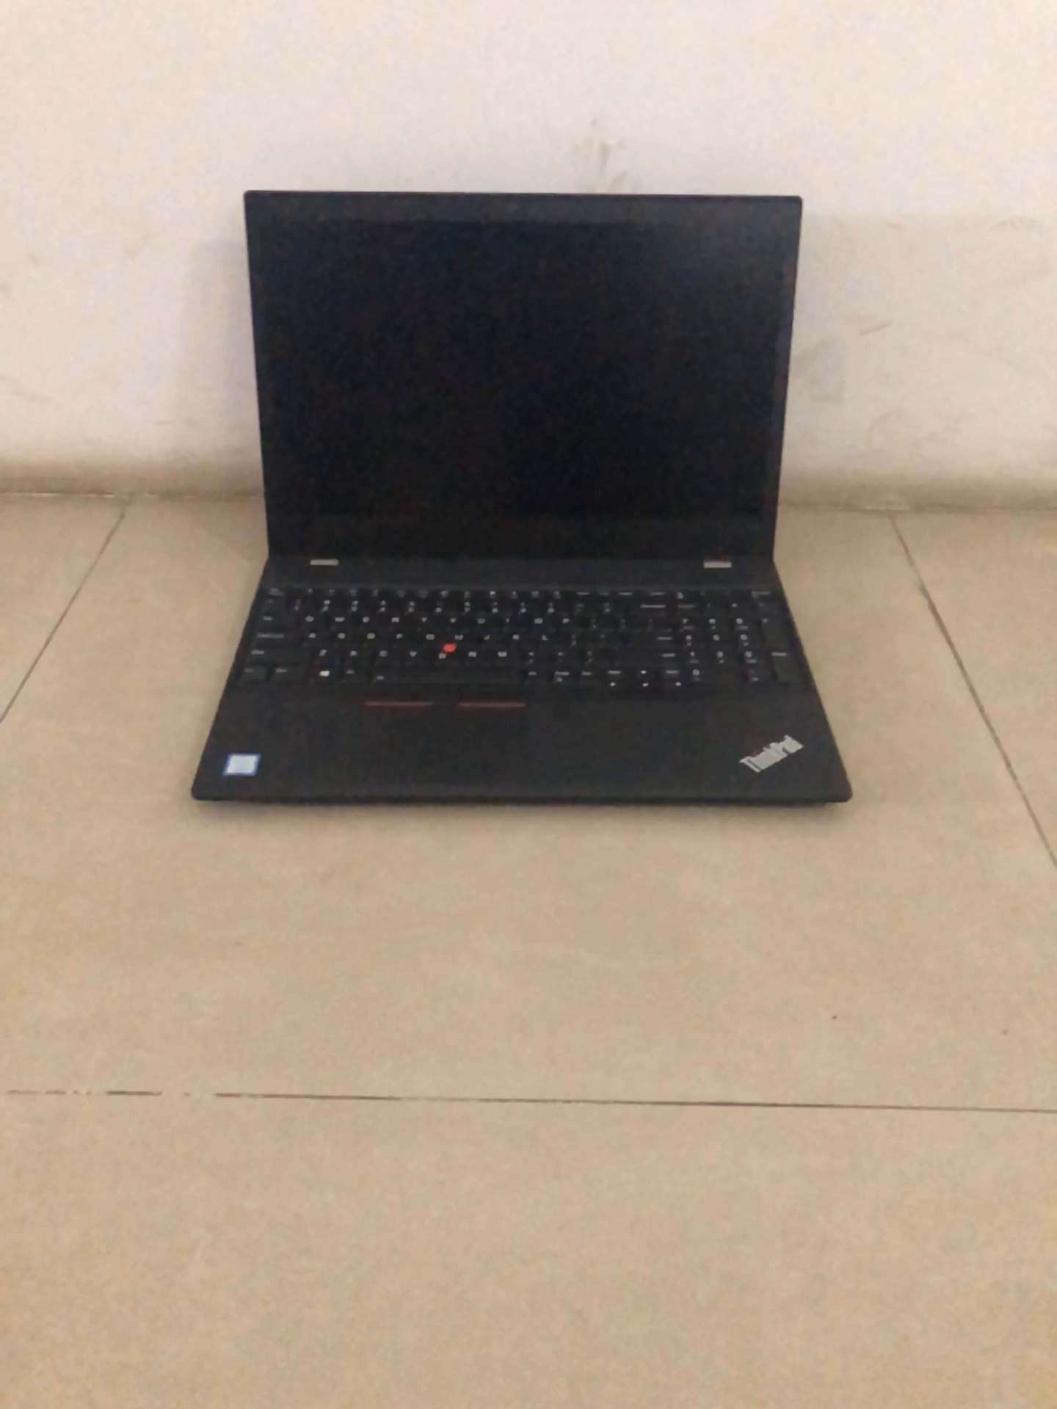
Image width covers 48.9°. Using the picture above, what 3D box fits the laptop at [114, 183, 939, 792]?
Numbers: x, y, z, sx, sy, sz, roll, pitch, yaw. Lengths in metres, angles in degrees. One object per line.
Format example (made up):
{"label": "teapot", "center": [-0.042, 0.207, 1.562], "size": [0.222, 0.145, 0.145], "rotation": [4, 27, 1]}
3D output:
{"label": "laptop", "center": [-0.003, -0.144, 0.686], "size": [0.351, 0.215, 0.329], "rotation": [0, 39, -1]}
